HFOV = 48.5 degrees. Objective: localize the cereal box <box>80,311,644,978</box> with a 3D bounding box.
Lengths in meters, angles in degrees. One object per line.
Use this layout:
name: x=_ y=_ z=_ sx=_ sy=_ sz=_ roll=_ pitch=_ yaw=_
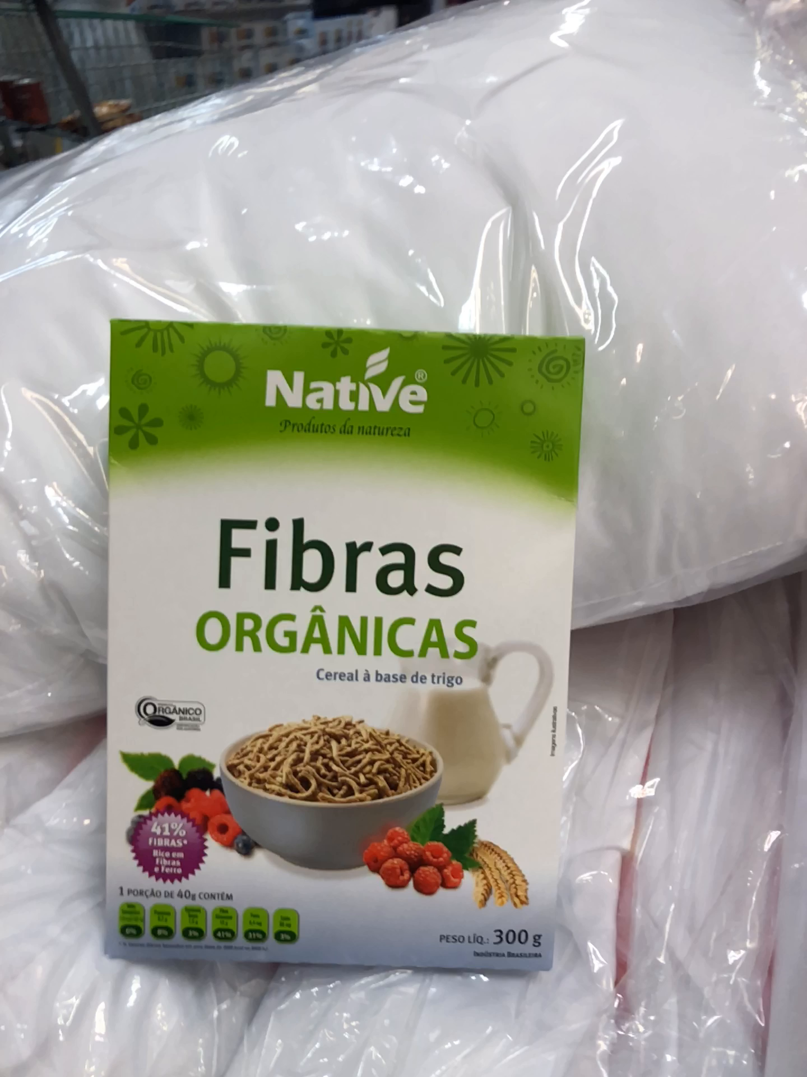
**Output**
cereal box: x=-0.018 y=0.037 z=0.343 sx=0.190 sy=0.230 sz=0.060 roll=2 pitch=6 yaw=1
